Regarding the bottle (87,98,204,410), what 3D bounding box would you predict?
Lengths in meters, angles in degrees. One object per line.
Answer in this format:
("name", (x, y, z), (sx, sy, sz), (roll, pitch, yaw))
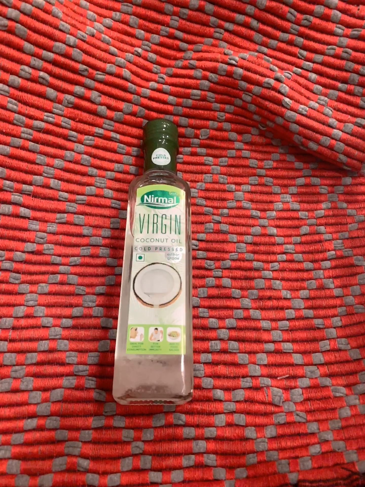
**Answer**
("bottle", (-0.023, -0.002, 0.273), (0.060, 0.060, 0.220), (2, 62, -5))
